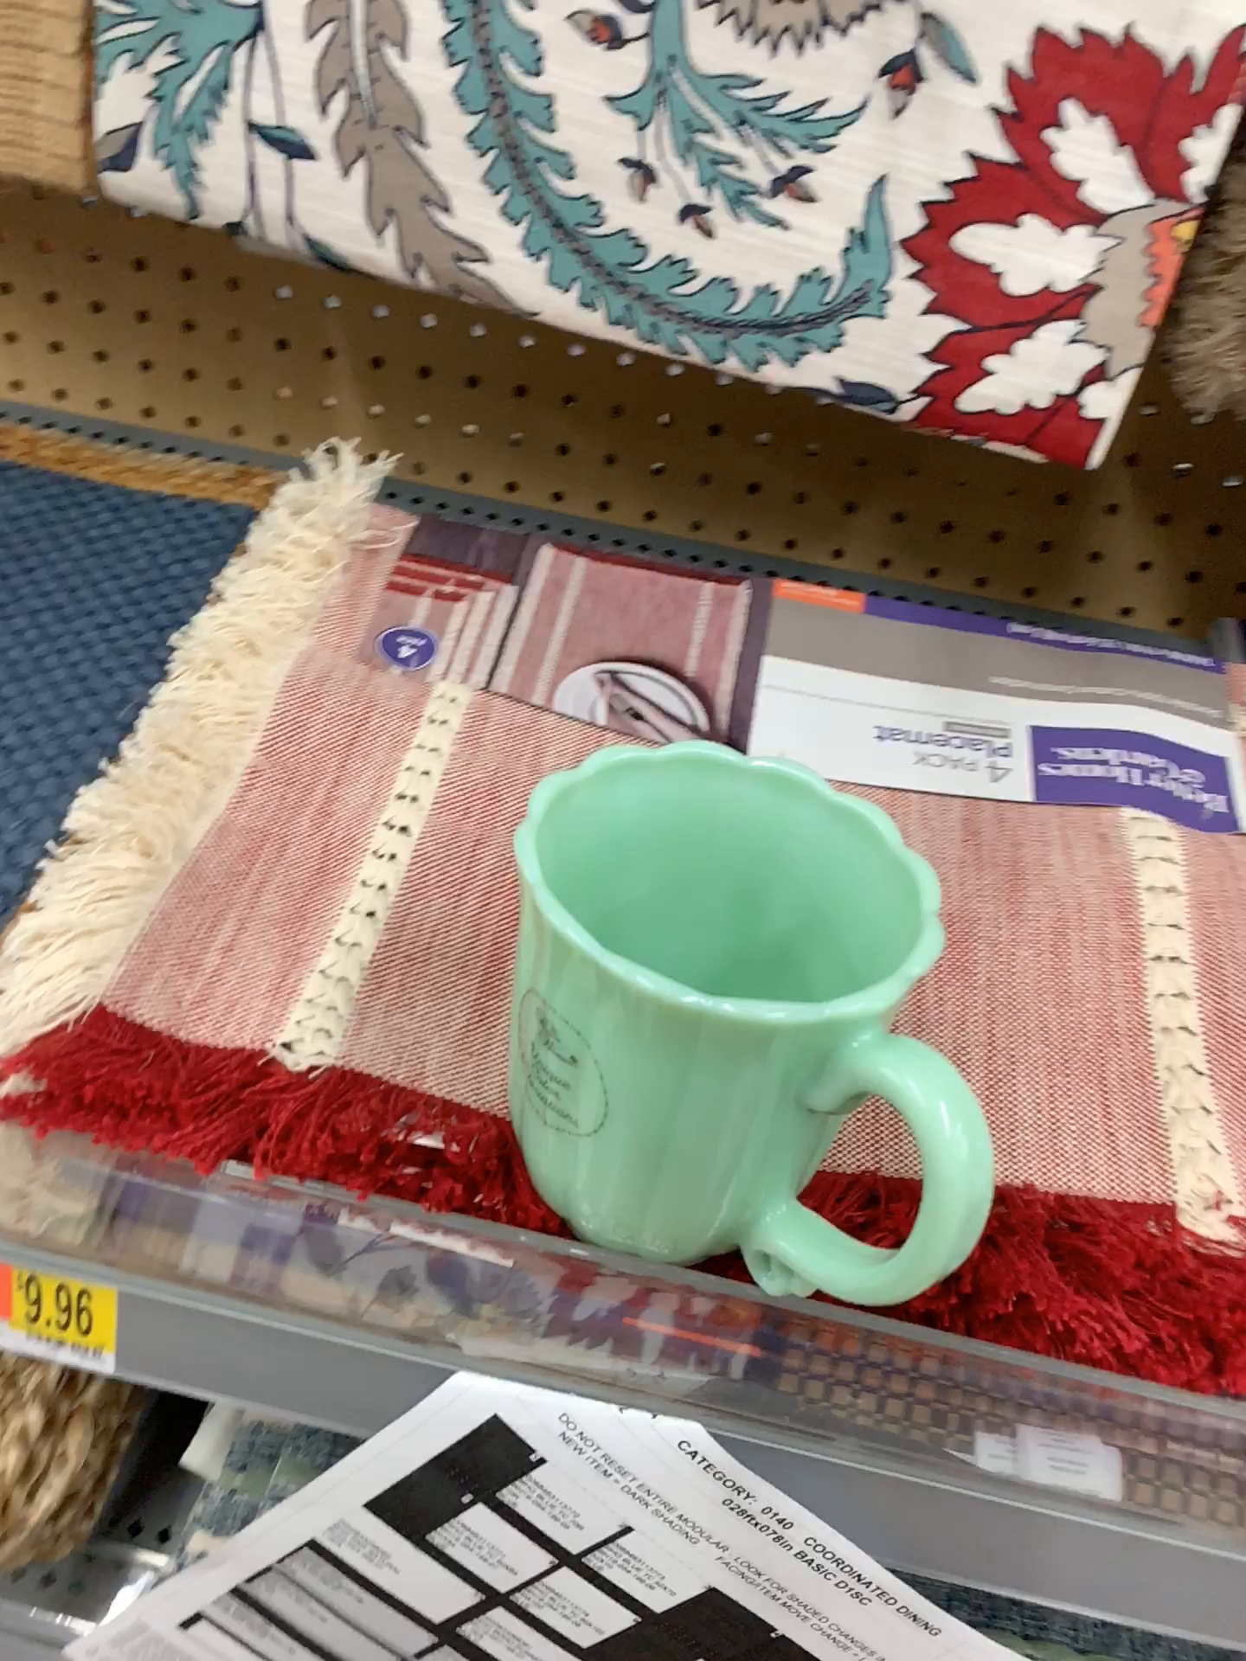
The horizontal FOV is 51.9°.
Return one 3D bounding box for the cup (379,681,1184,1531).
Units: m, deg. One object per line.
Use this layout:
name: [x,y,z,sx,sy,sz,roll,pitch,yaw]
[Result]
cup: [0.021,0.045,0.272,0.090,0.090,0.130,-17,42,-34]
